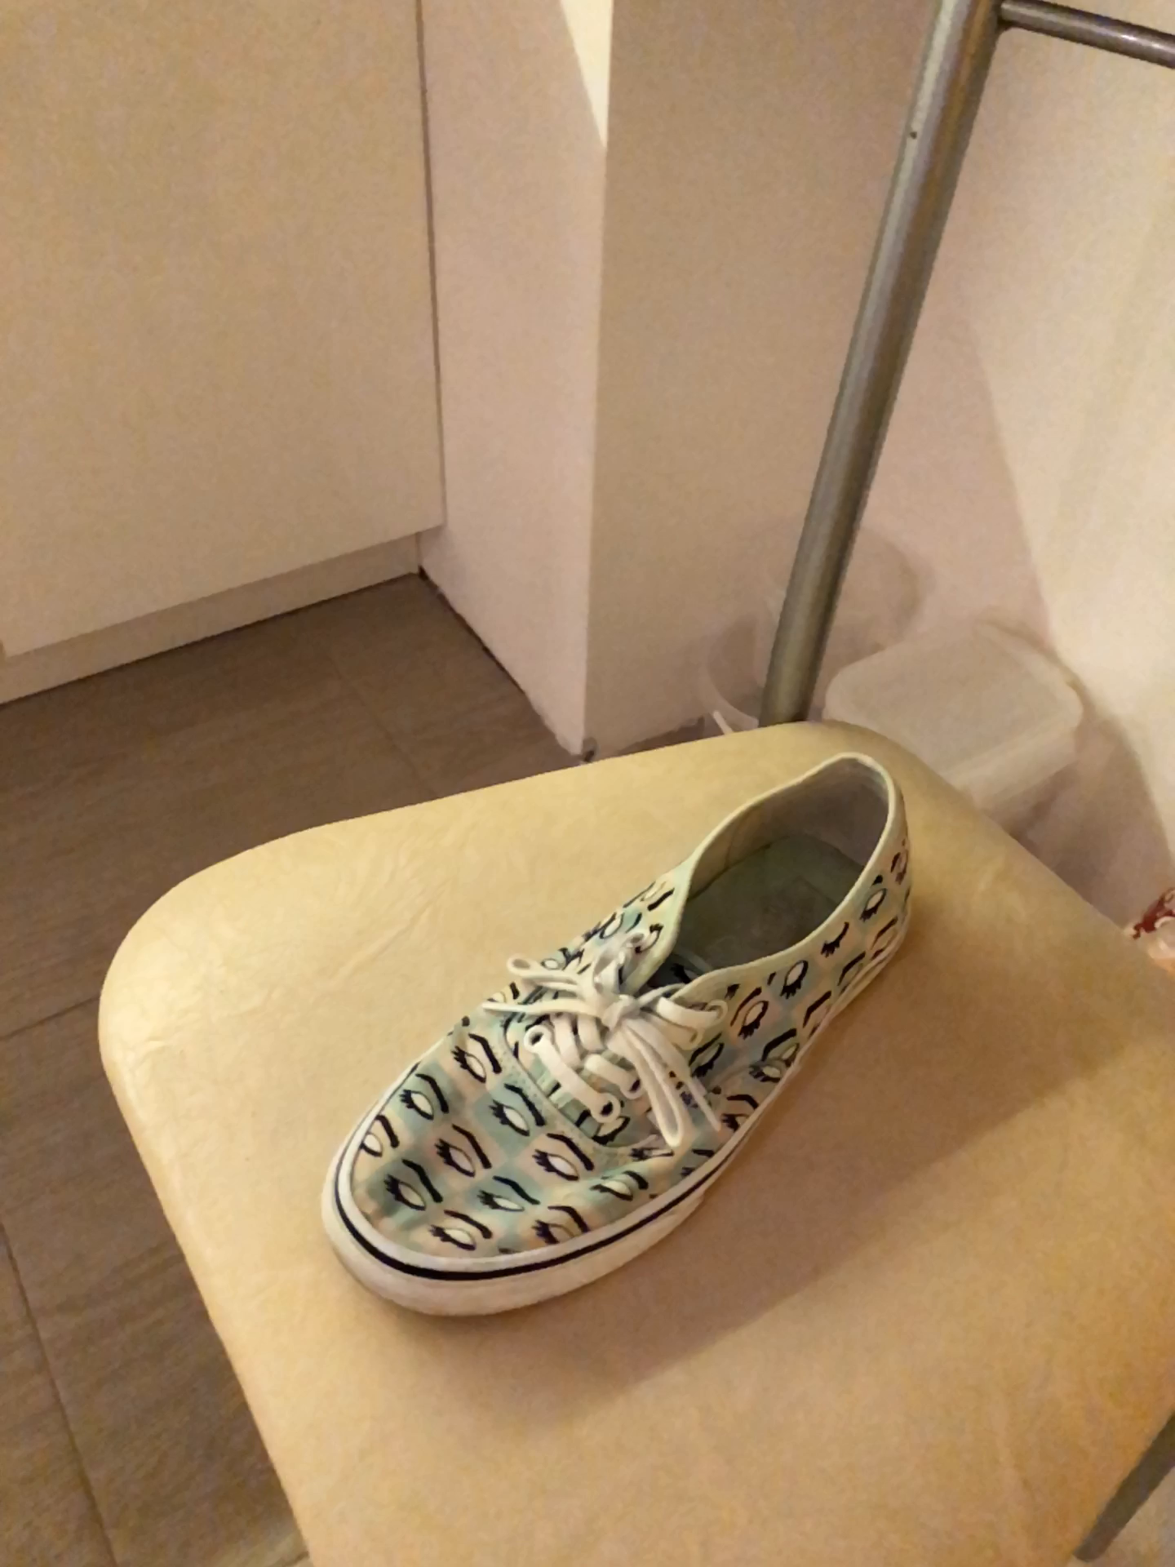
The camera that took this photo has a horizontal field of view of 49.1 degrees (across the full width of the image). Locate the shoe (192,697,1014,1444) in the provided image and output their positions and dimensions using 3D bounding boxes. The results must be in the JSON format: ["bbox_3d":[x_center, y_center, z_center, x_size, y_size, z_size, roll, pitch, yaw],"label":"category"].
[{"bbox_3d":[0.015,0.079,0.442,0.261,0.068,0.110,-31,54,-29],"label":"shoe"}]
